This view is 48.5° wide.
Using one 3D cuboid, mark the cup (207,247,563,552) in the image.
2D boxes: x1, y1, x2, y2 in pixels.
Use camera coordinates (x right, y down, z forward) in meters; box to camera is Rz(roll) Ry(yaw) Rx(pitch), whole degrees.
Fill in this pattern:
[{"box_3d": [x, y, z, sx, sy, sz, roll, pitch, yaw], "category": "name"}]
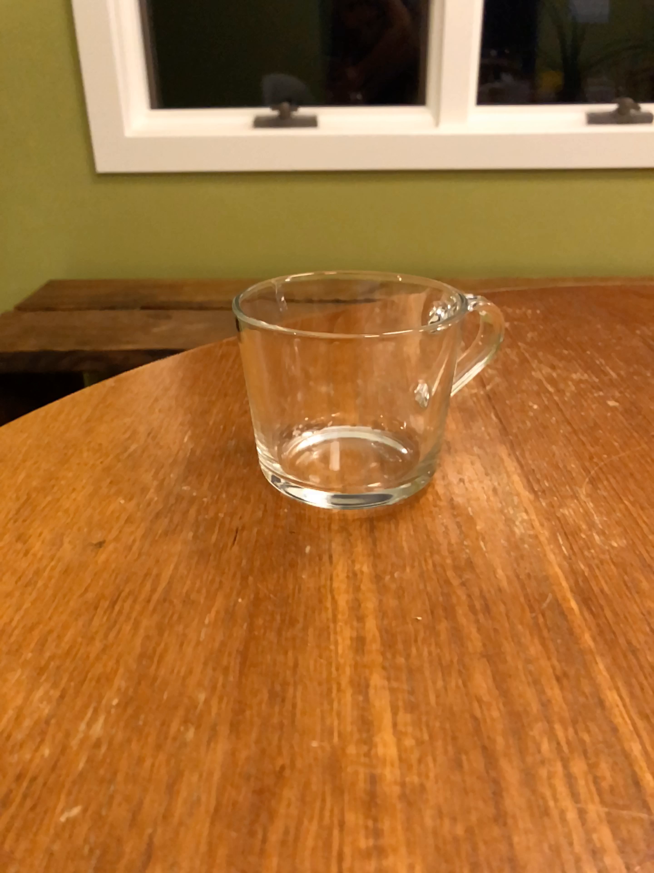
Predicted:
[{"box_3d": [0.022, -0.026, 0.335, 0.120, 0.089, 0.100, -13, 28, -23], "category": "cup"}]
